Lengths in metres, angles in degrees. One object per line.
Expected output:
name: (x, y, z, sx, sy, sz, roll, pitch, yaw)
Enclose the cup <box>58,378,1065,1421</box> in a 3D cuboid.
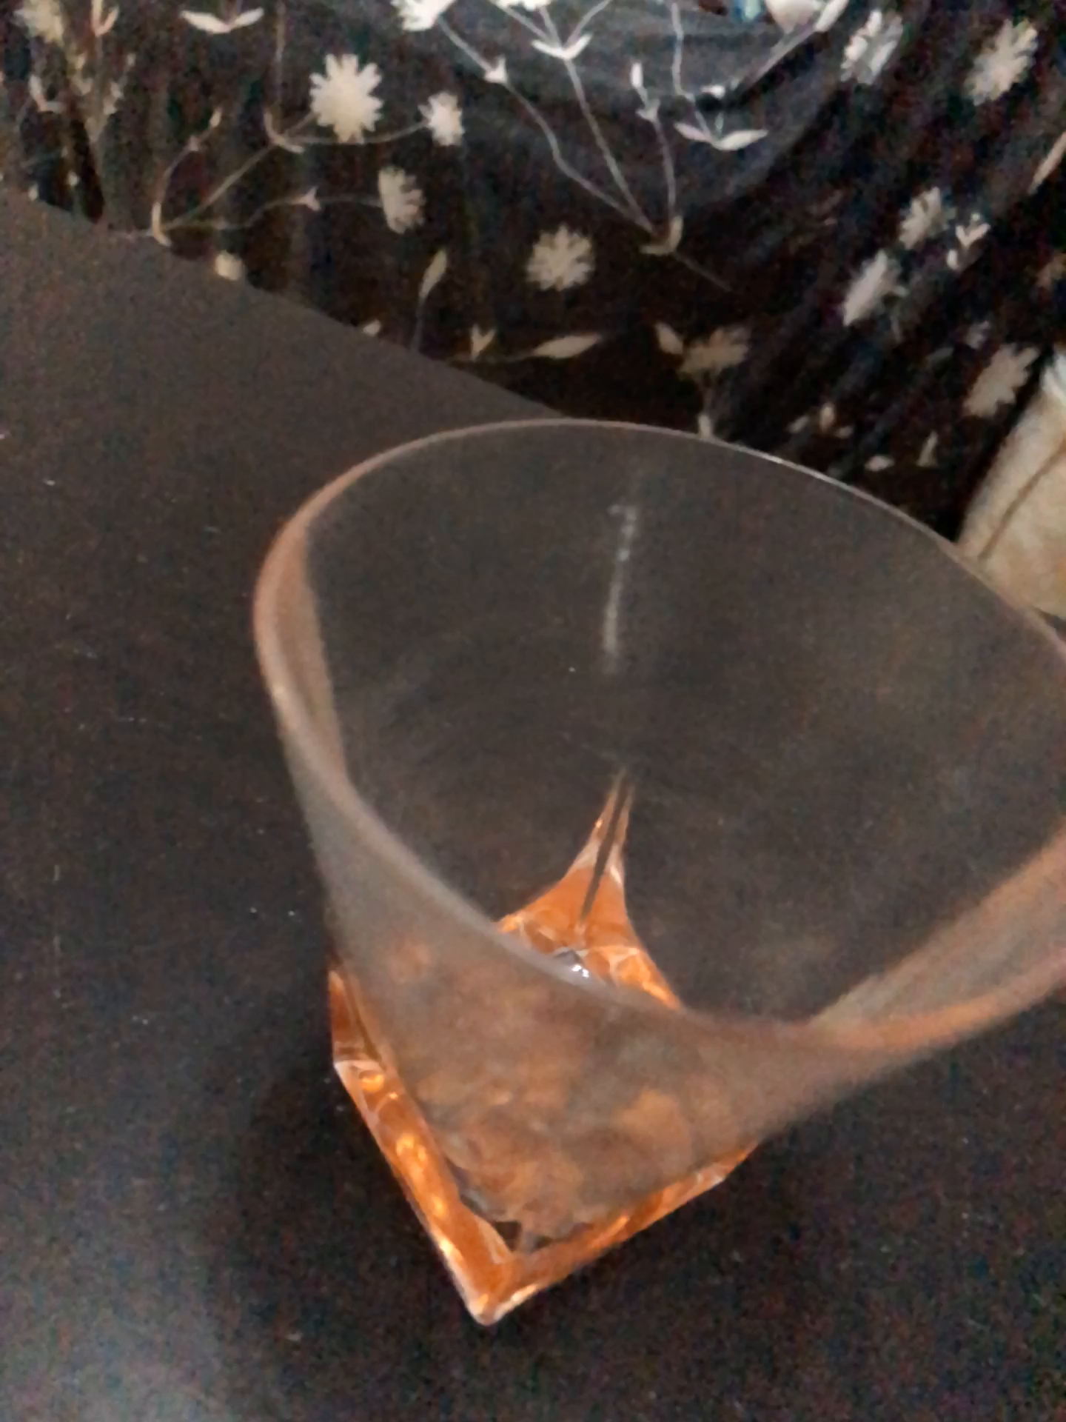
cup: (0.007, 0.028, 0.166, 0.110, 0.099, 0.110, 9, 41, -7)
